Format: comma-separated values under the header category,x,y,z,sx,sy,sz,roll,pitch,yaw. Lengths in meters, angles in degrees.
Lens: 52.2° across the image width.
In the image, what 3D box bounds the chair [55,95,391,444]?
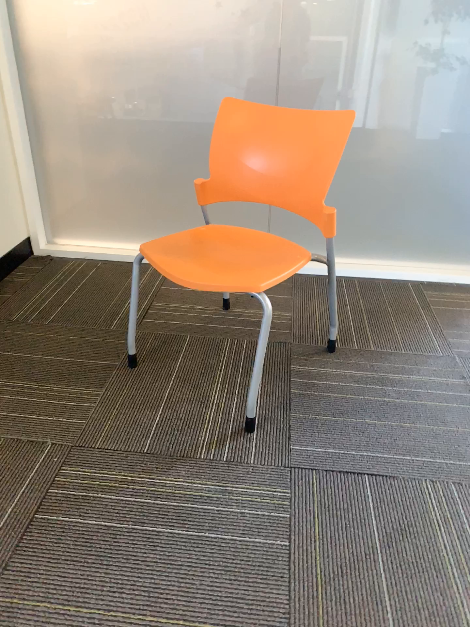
category,x,y,z,sx,sy,sz,roll,pitch,yaw
chair,-0.019,-0.222,1.550,0.682,0.795,0.682,20,34,29
